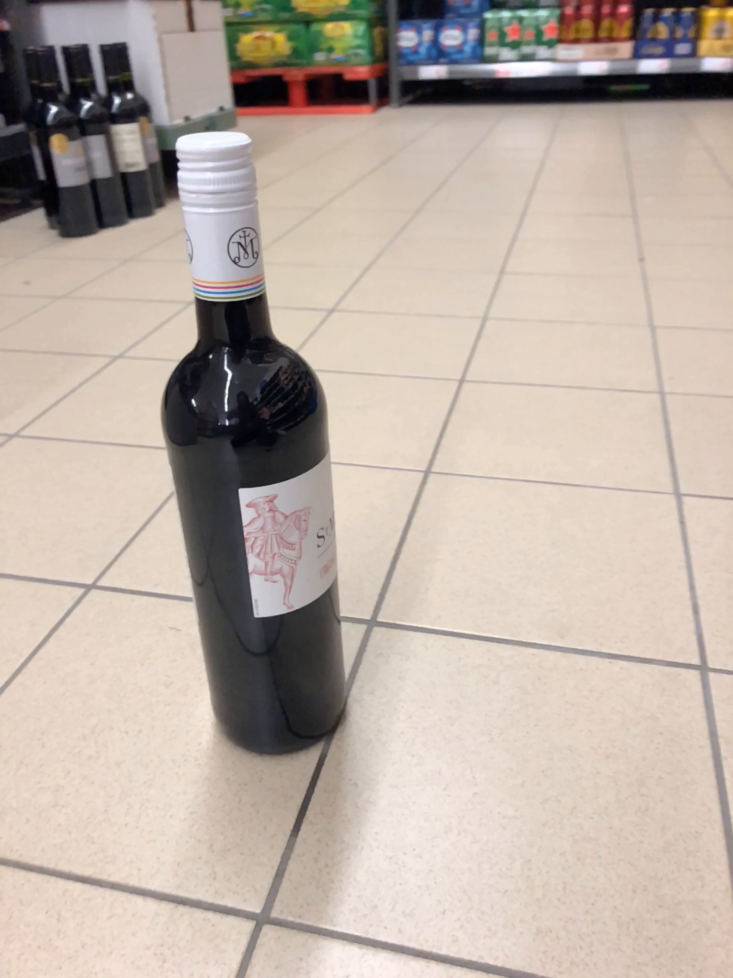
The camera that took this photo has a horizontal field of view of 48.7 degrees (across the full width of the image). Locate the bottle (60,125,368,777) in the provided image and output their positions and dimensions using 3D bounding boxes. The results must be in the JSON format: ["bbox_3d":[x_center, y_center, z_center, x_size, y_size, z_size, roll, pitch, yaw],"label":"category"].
[{"bbox_3d":[-0.052,-0.007,0.378,0.080,0.288,0.091,4,30,11],"label":"bottle"}]
